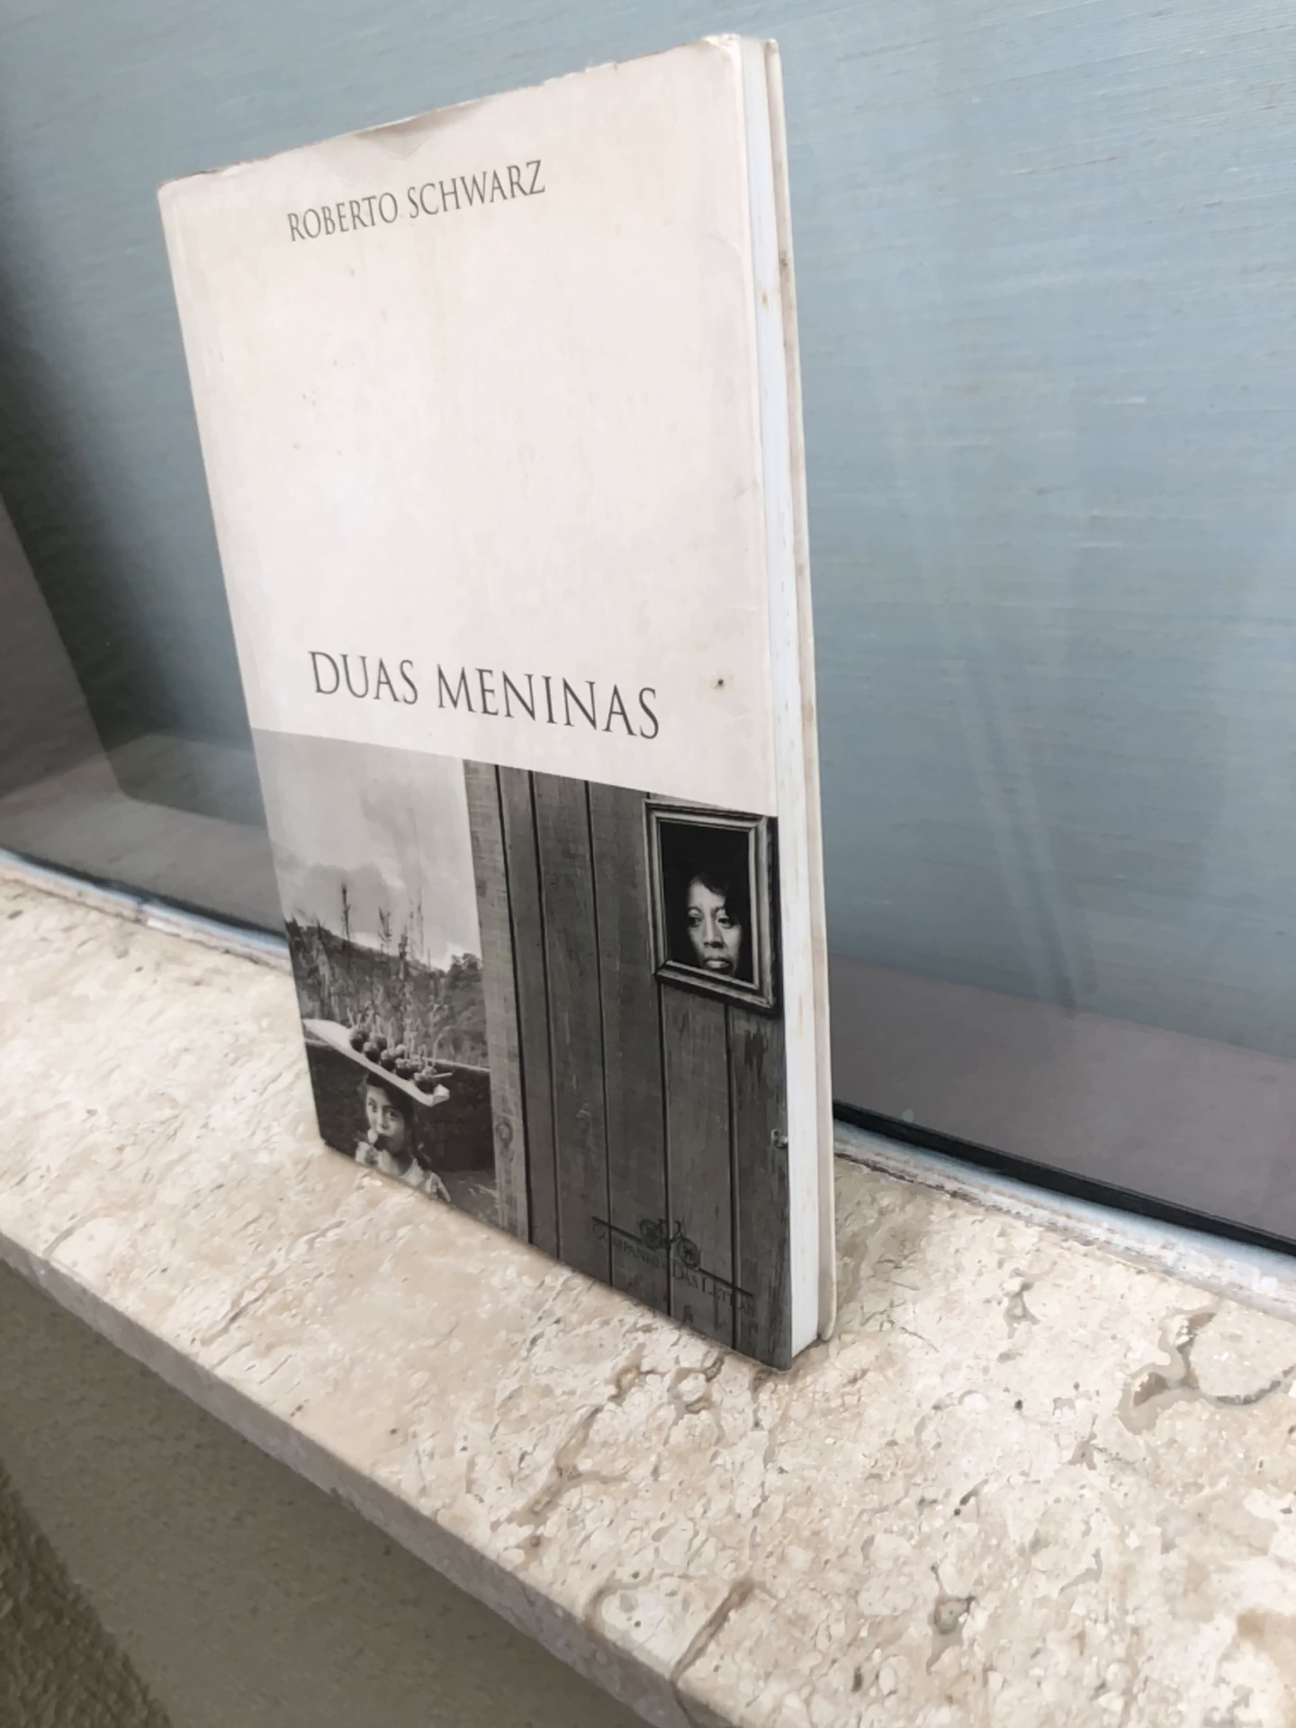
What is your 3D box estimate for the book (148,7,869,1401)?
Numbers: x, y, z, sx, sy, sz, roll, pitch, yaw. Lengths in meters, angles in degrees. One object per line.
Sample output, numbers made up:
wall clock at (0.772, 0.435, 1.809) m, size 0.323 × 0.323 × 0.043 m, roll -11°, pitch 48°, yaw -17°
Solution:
book at (-0.027, -0.021, 0.260) m, size 0.139 × 0.204 × 0.016 m, roll 12°, pitch 25°, yaw 42°
